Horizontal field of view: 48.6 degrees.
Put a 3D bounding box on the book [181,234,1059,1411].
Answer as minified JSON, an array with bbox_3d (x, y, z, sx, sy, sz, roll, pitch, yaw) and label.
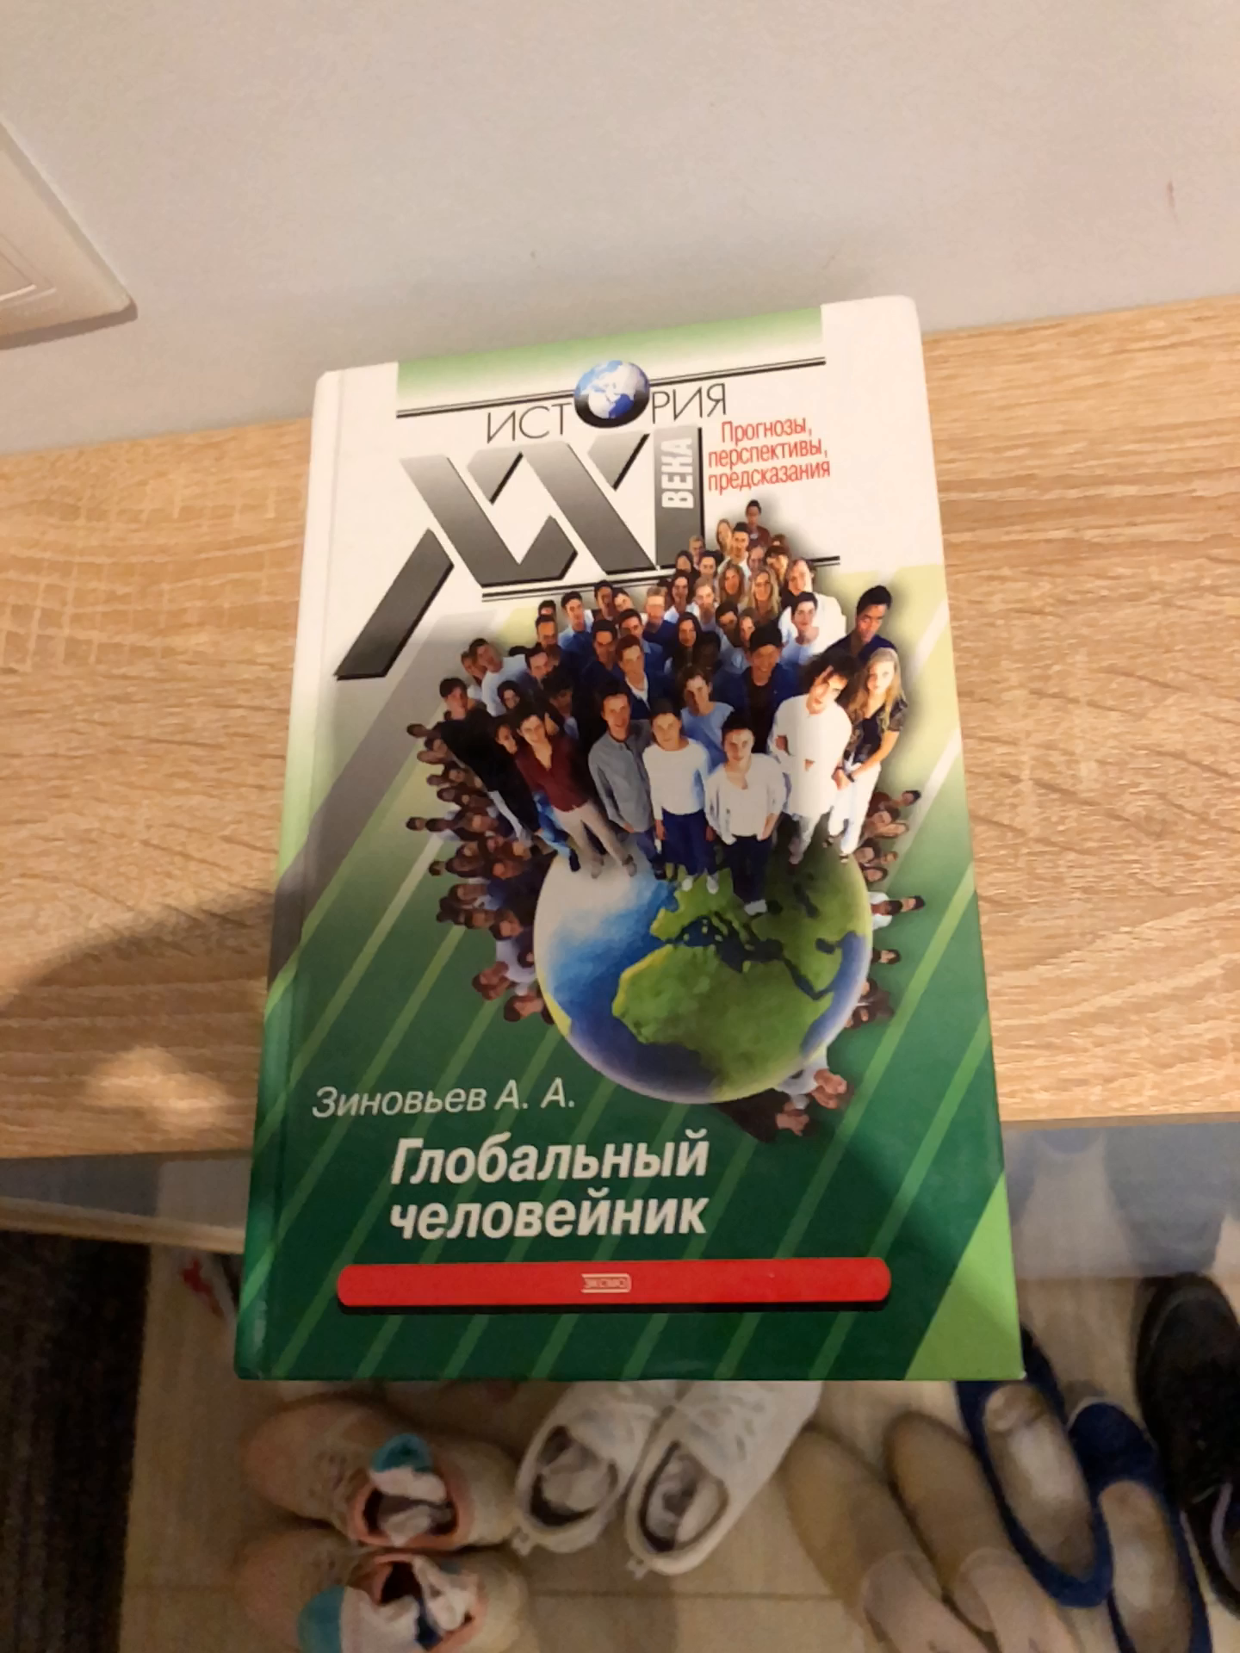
[{"bbox_3d":[-0.003,-0.009,0.262,0.140,0.020,0.221,-4,69,10],"label":"book"}]
